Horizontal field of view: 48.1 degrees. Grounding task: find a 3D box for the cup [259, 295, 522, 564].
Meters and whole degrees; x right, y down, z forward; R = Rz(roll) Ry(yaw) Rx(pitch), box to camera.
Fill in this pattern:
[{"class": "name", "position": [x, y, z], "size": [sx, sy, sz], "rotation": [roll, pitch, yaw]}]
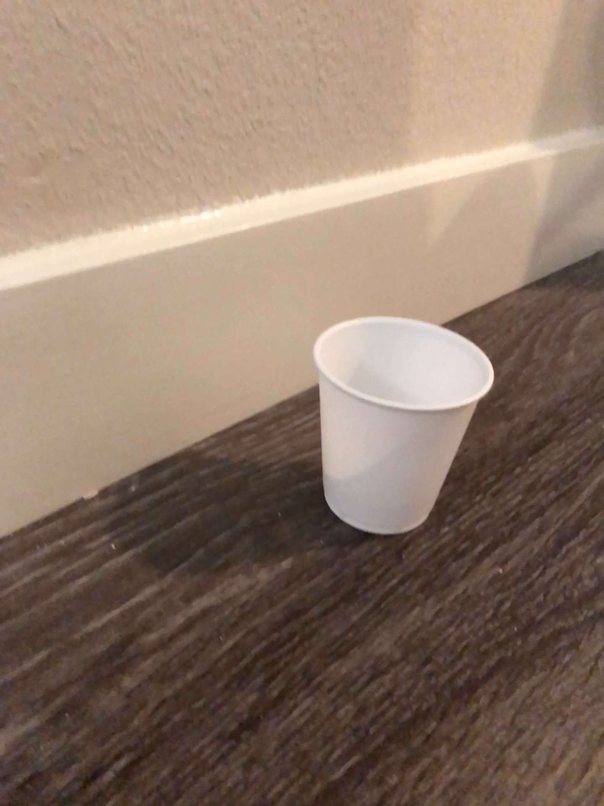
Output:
[{"class": "cup", "position": [0.025, 0.006, 0.234], "size": [0.060, 0.060, 0.060], "rotation": [4, 33, -2]}]
